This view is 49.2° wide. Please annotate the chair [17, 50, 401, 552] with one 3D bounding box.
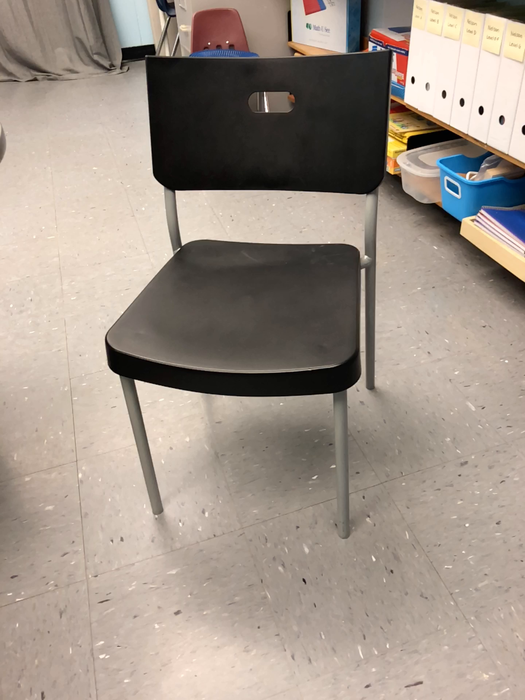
[{"bbox_3d":[-0.007,-0.081,1.090,0.466,0.776,0.475,4,38,11],"label":"chair"}]
